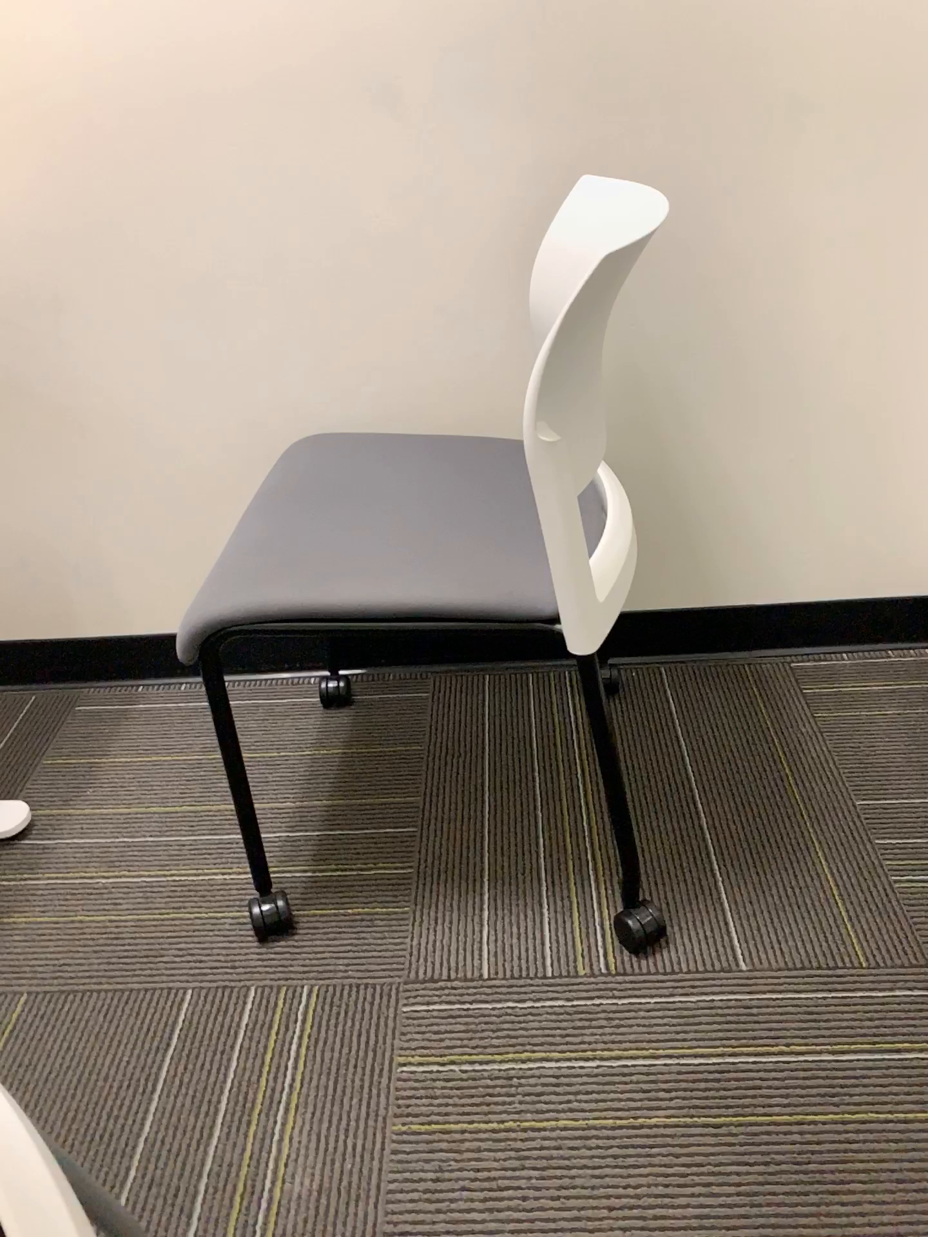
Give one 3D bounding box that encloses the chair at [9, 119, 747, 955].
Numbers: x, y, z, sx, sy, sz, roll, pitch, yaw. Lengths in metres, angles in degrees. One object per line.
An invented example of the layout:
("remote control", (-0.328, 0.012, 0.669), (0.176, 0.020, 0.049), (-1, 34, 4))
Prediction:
("chair", (-0.032, -0.111, 1.152), (0.540, 0.805, 0.604), (-2, 31, 4))
